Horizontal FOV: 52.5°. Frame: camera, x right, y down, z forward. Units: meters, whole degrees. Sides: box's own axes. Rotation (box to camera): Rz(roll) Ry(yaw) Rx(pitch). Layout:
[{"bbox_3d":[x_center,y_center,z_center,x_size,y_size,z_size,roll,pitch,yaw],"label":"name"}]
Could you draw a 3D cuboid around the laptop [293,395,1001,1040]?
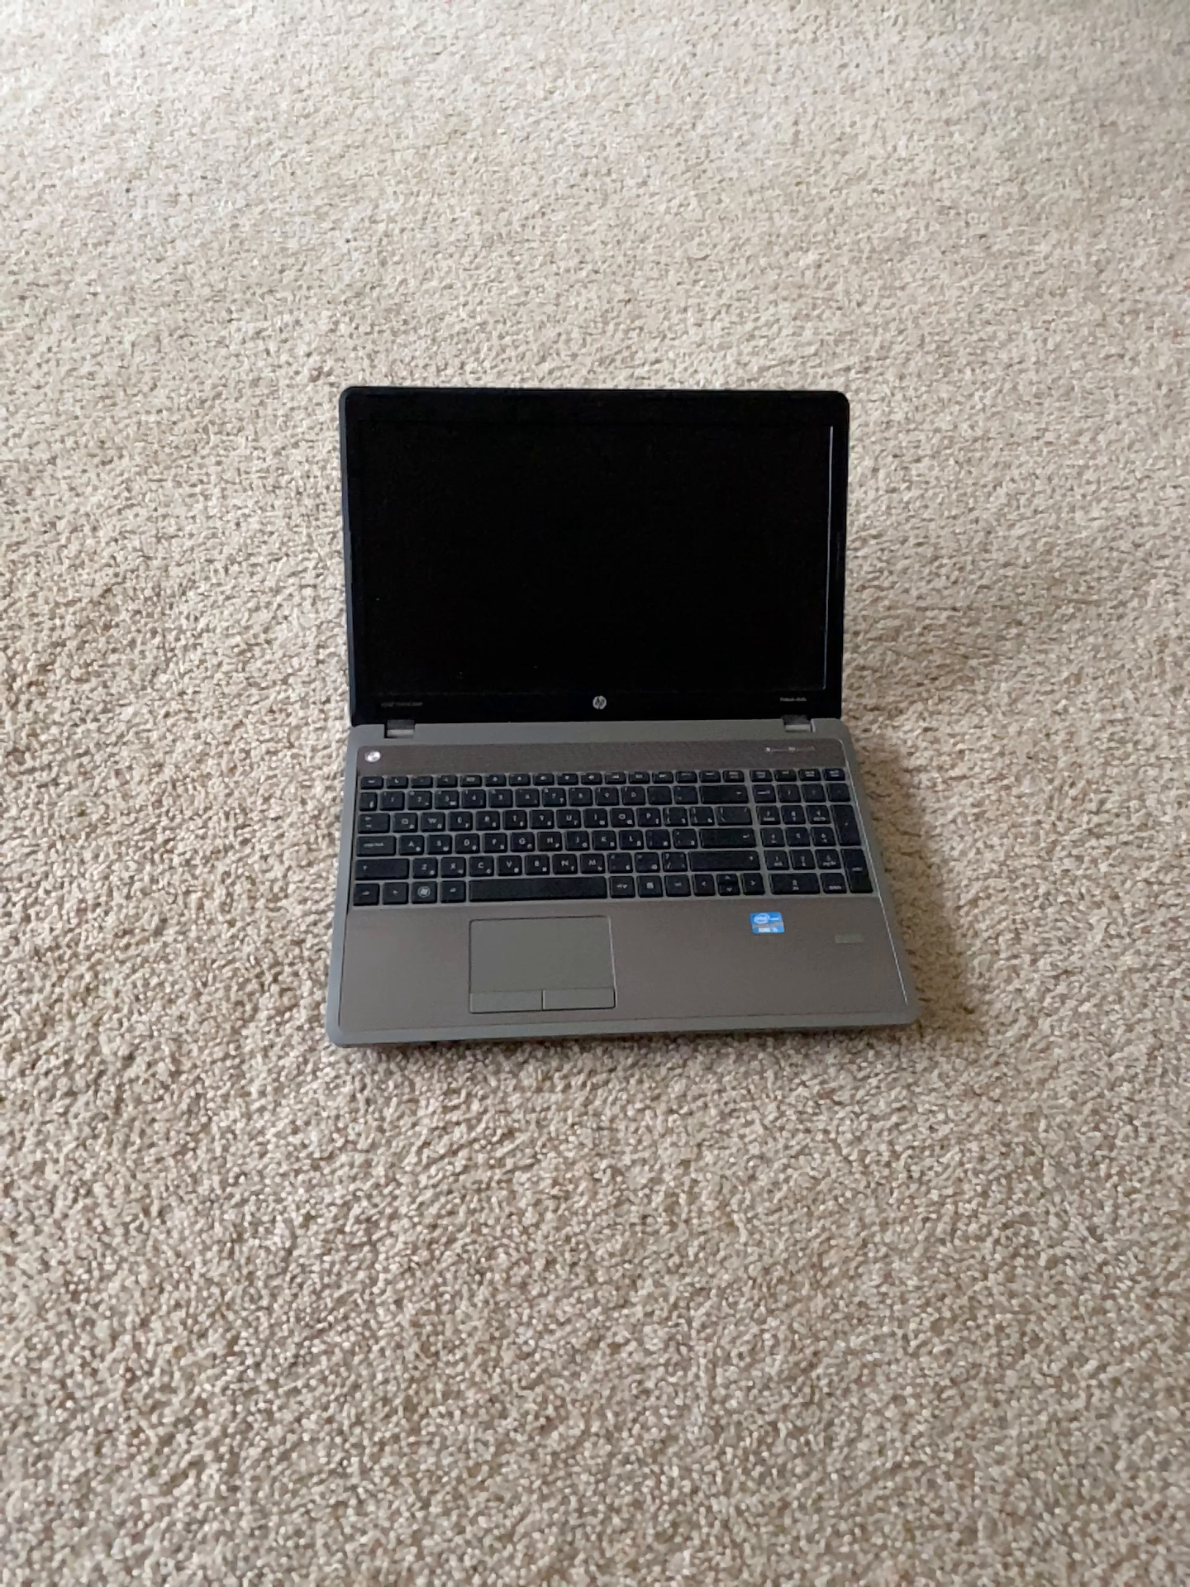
[{"bbox_3d":[0.014,-0.072,0.830,0.374,0.162,0.437,-1,53,-4],"label":"laptop"}]
